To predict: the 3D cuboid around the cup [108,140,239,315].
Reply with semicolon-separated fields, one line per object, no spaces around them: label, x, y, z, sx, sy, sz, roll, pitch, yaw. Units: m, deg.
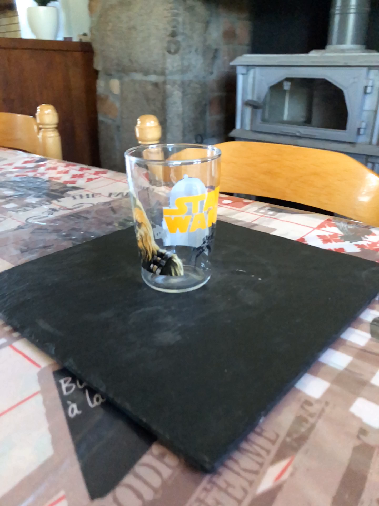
cup;-0.014;-0.023;0.296;0.070;0.099;0.070;0;23;0
